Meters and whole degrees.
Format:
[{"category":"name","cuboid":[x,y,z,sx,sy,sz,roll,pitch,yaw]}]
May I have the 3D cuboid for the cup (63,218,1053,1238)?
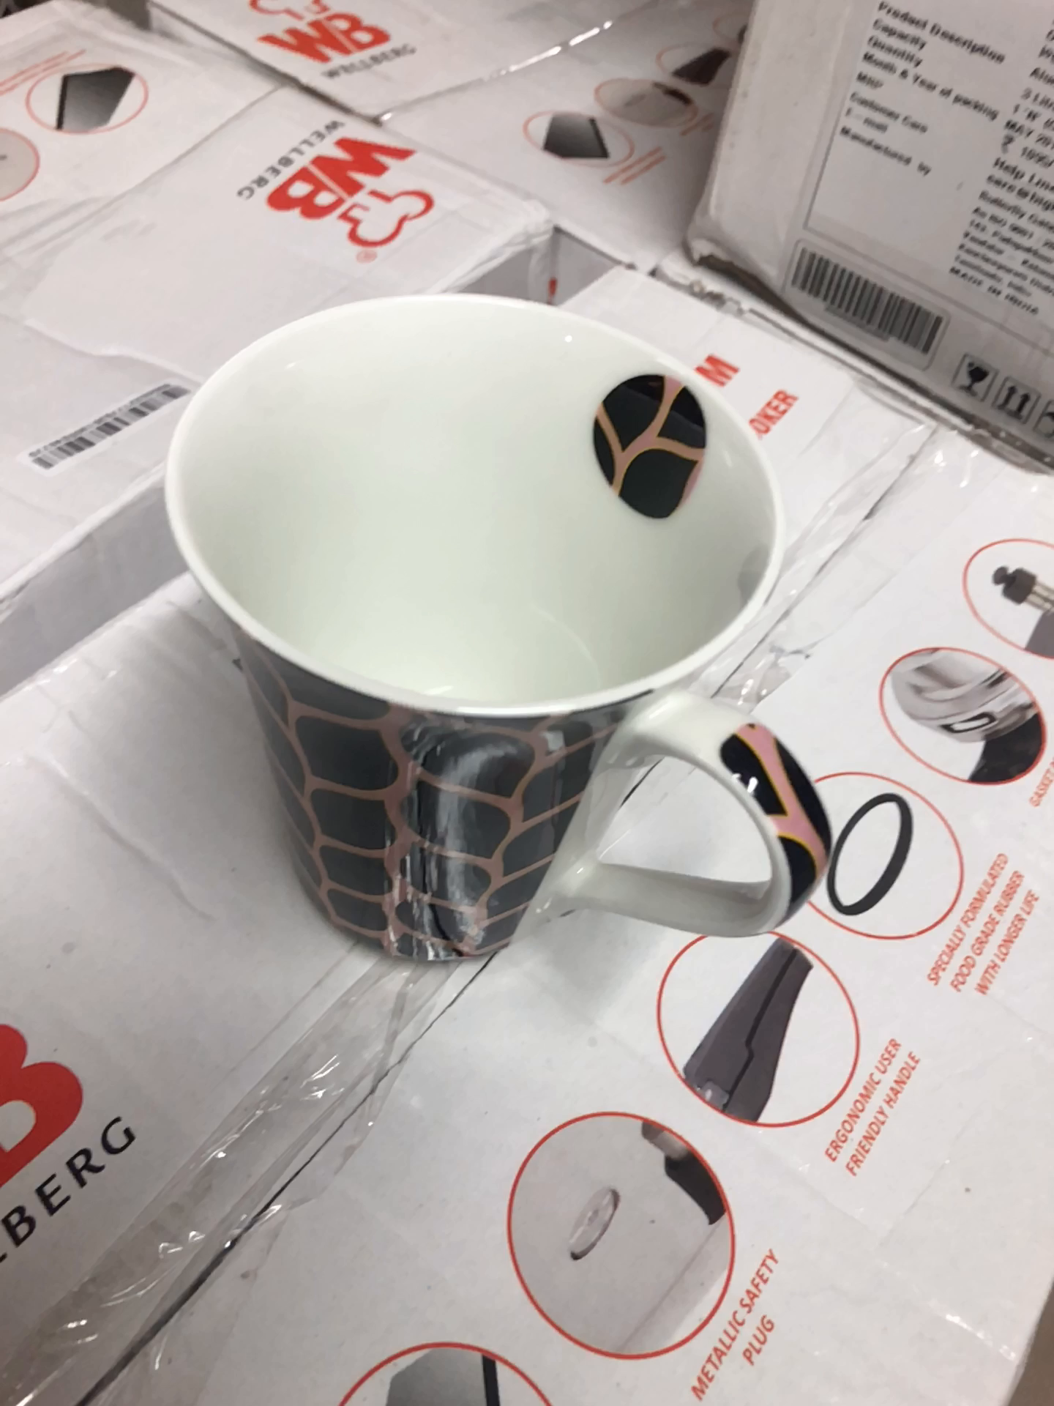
[{"category":"cup","cuboid":[0.003,0.003,0.187,0.110,0.089,0.080,36,55,15]}]
